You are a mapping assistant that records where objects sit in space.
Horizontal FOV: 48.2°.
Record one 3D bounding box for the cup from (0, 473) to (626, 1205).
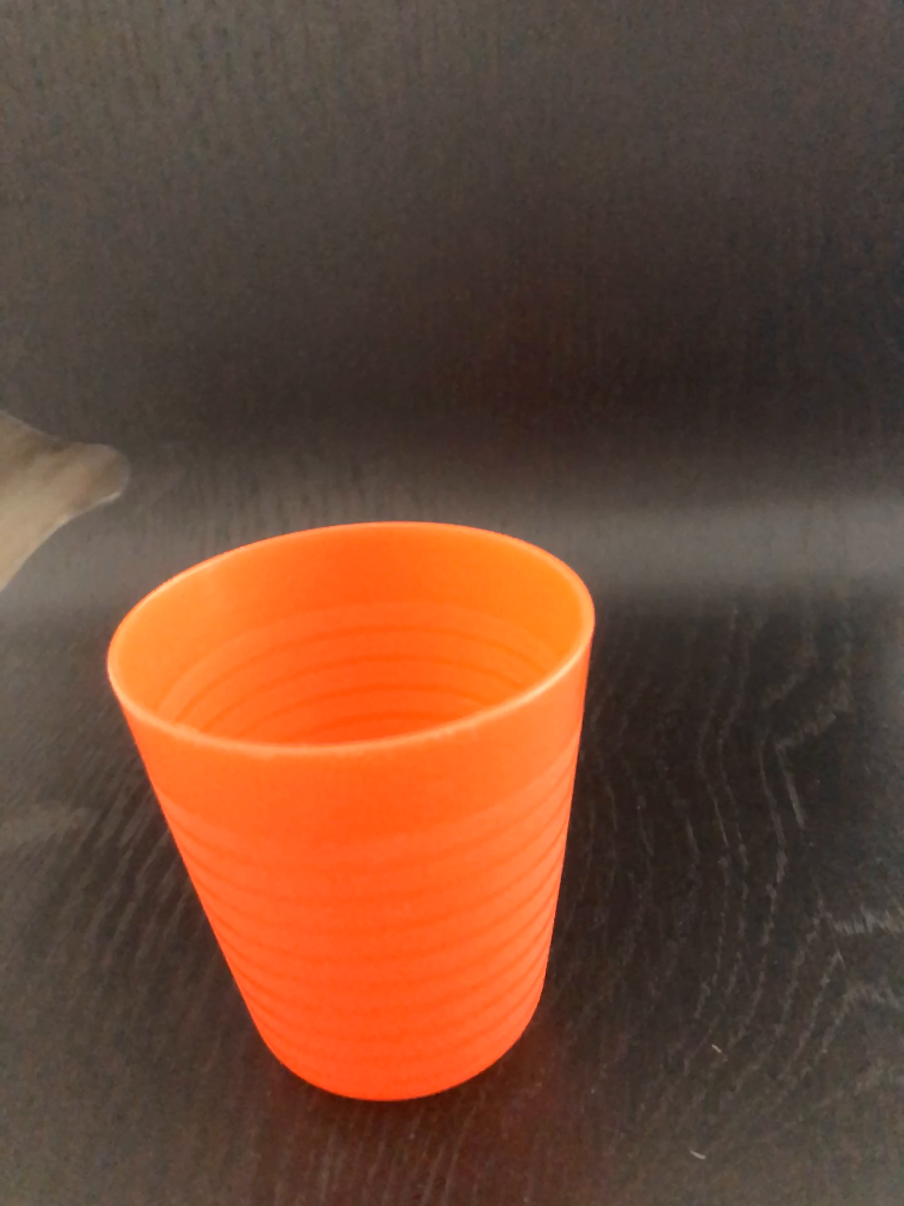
[{"bbox_3d":[-0.019,0.033,0.181,0.080,0.080,0.080,-3,31,2],"label":"cup"}]
